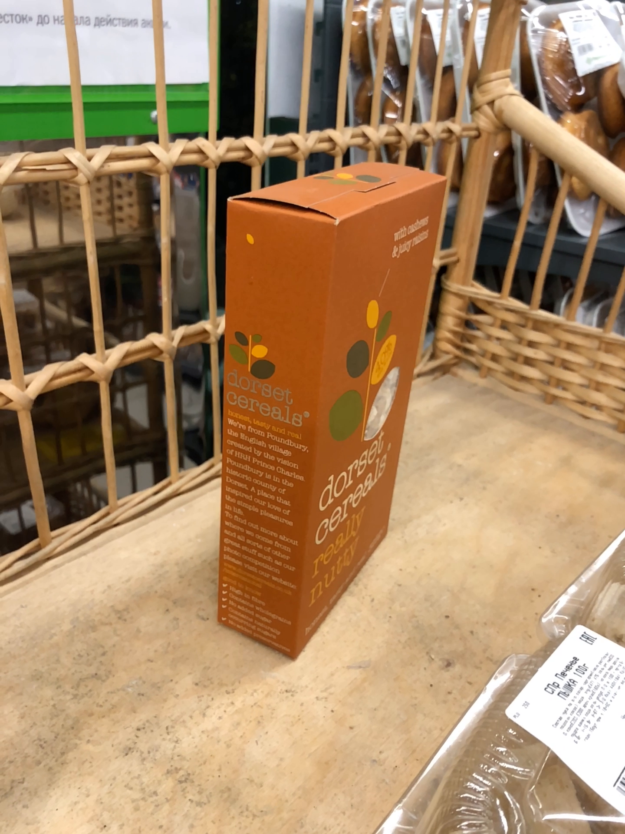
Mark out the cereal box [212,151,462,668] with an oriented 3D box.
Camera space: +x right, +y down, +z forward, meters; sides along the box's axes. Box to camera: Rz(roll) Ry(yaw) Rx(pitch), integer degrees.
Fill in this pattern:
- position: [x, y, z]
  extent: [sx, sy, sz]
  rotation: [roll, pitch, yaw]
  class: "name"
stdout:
- position: [0.010, -0.008, 0.335]
  extent: [0.050, 0.209, 0.131]
  rotation: [18, 31, 22]
  class: "cereal box"
